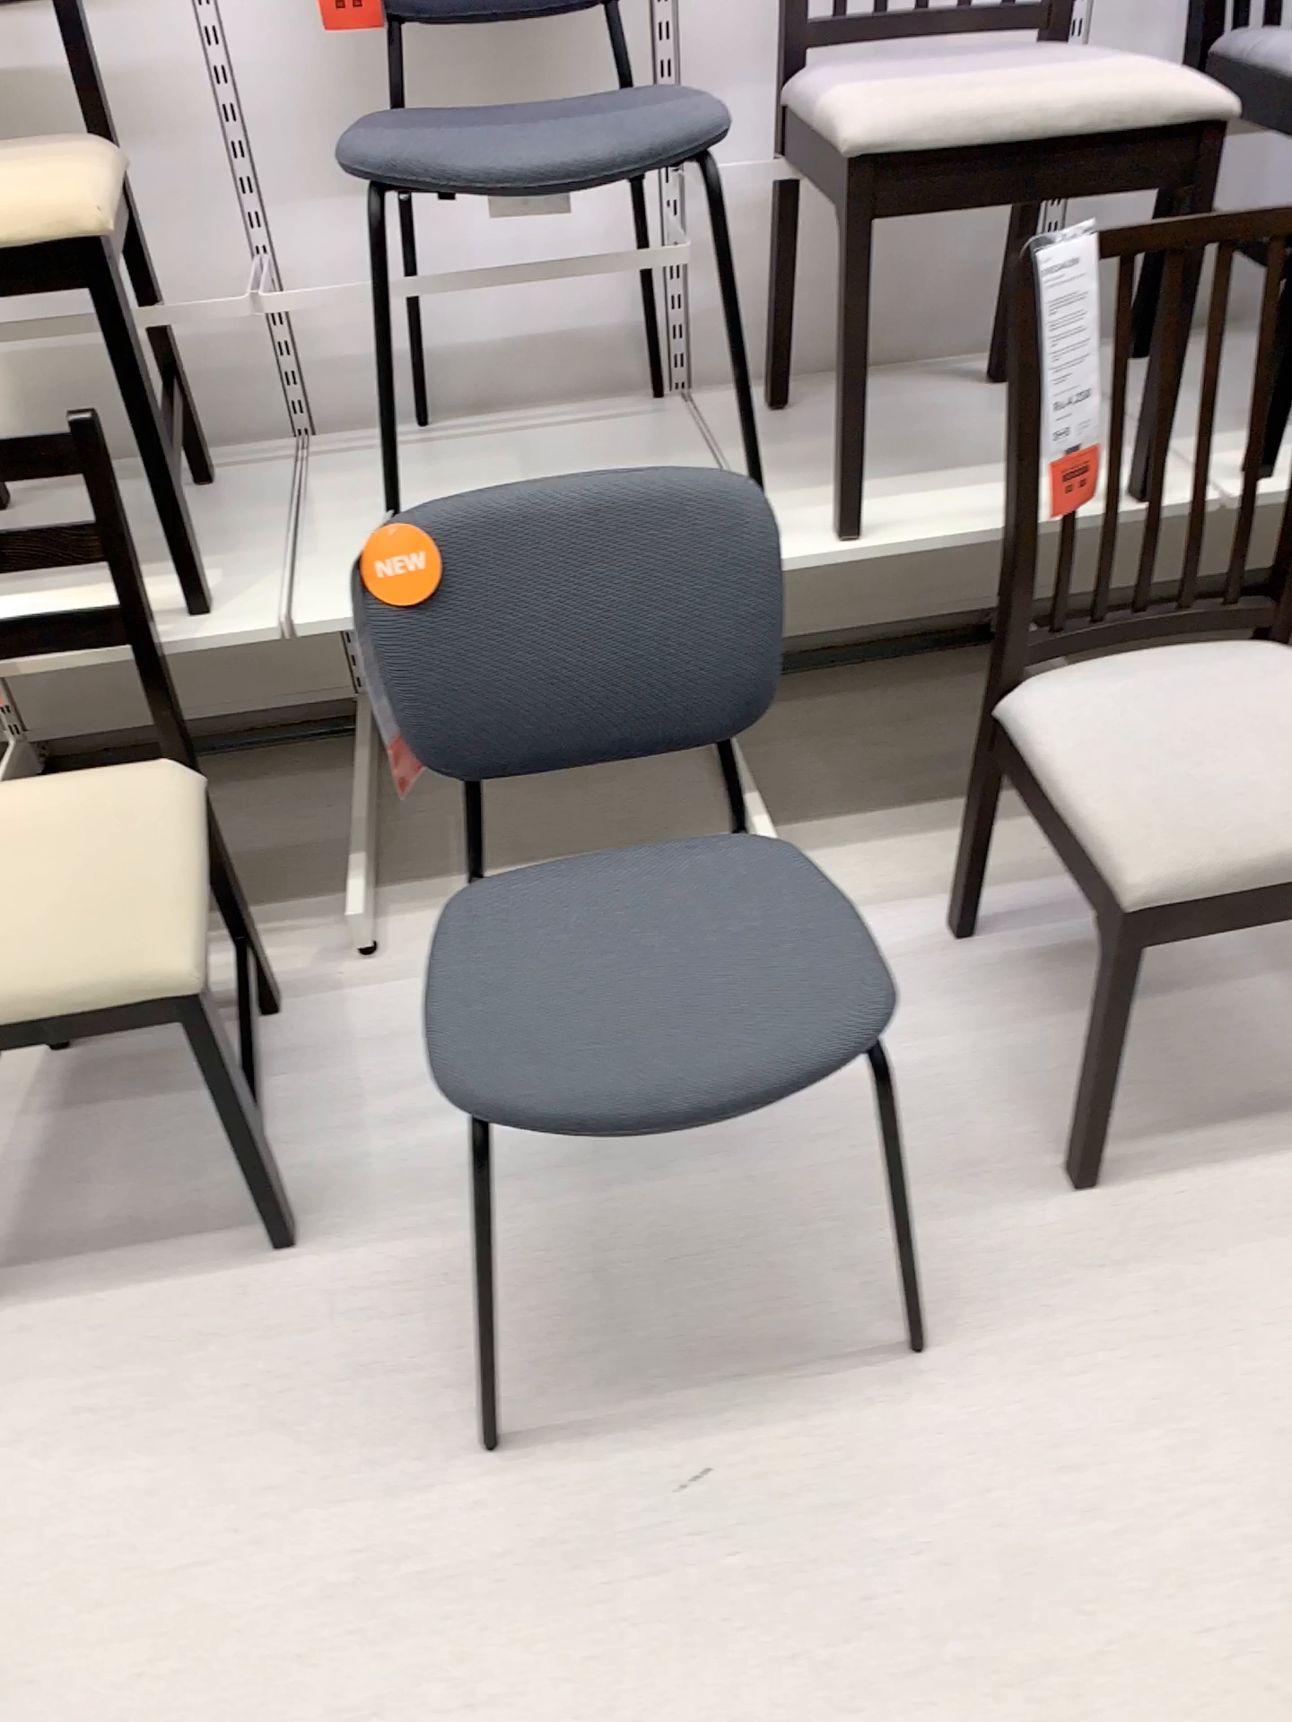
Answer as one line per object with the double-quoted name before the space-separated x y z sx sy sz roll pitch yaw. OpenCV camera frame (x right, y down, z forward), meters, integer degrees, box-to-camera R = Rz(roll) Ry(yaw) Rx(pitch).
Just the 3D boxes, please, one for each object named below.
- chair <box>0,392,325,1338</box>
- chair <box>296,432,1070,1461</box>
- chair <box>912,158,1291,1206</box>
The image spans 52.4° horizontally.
"chair" -0.681 0.014 1.426 0.480 0.806 0.532 -9 39 -6
"chair" -0.002 0.080 1.326 0.520 0.757 0.593 -10 40 -7
"chair" 0.642 -0.170 1.428 0.480 0.926 0.532 -10 40 -7
